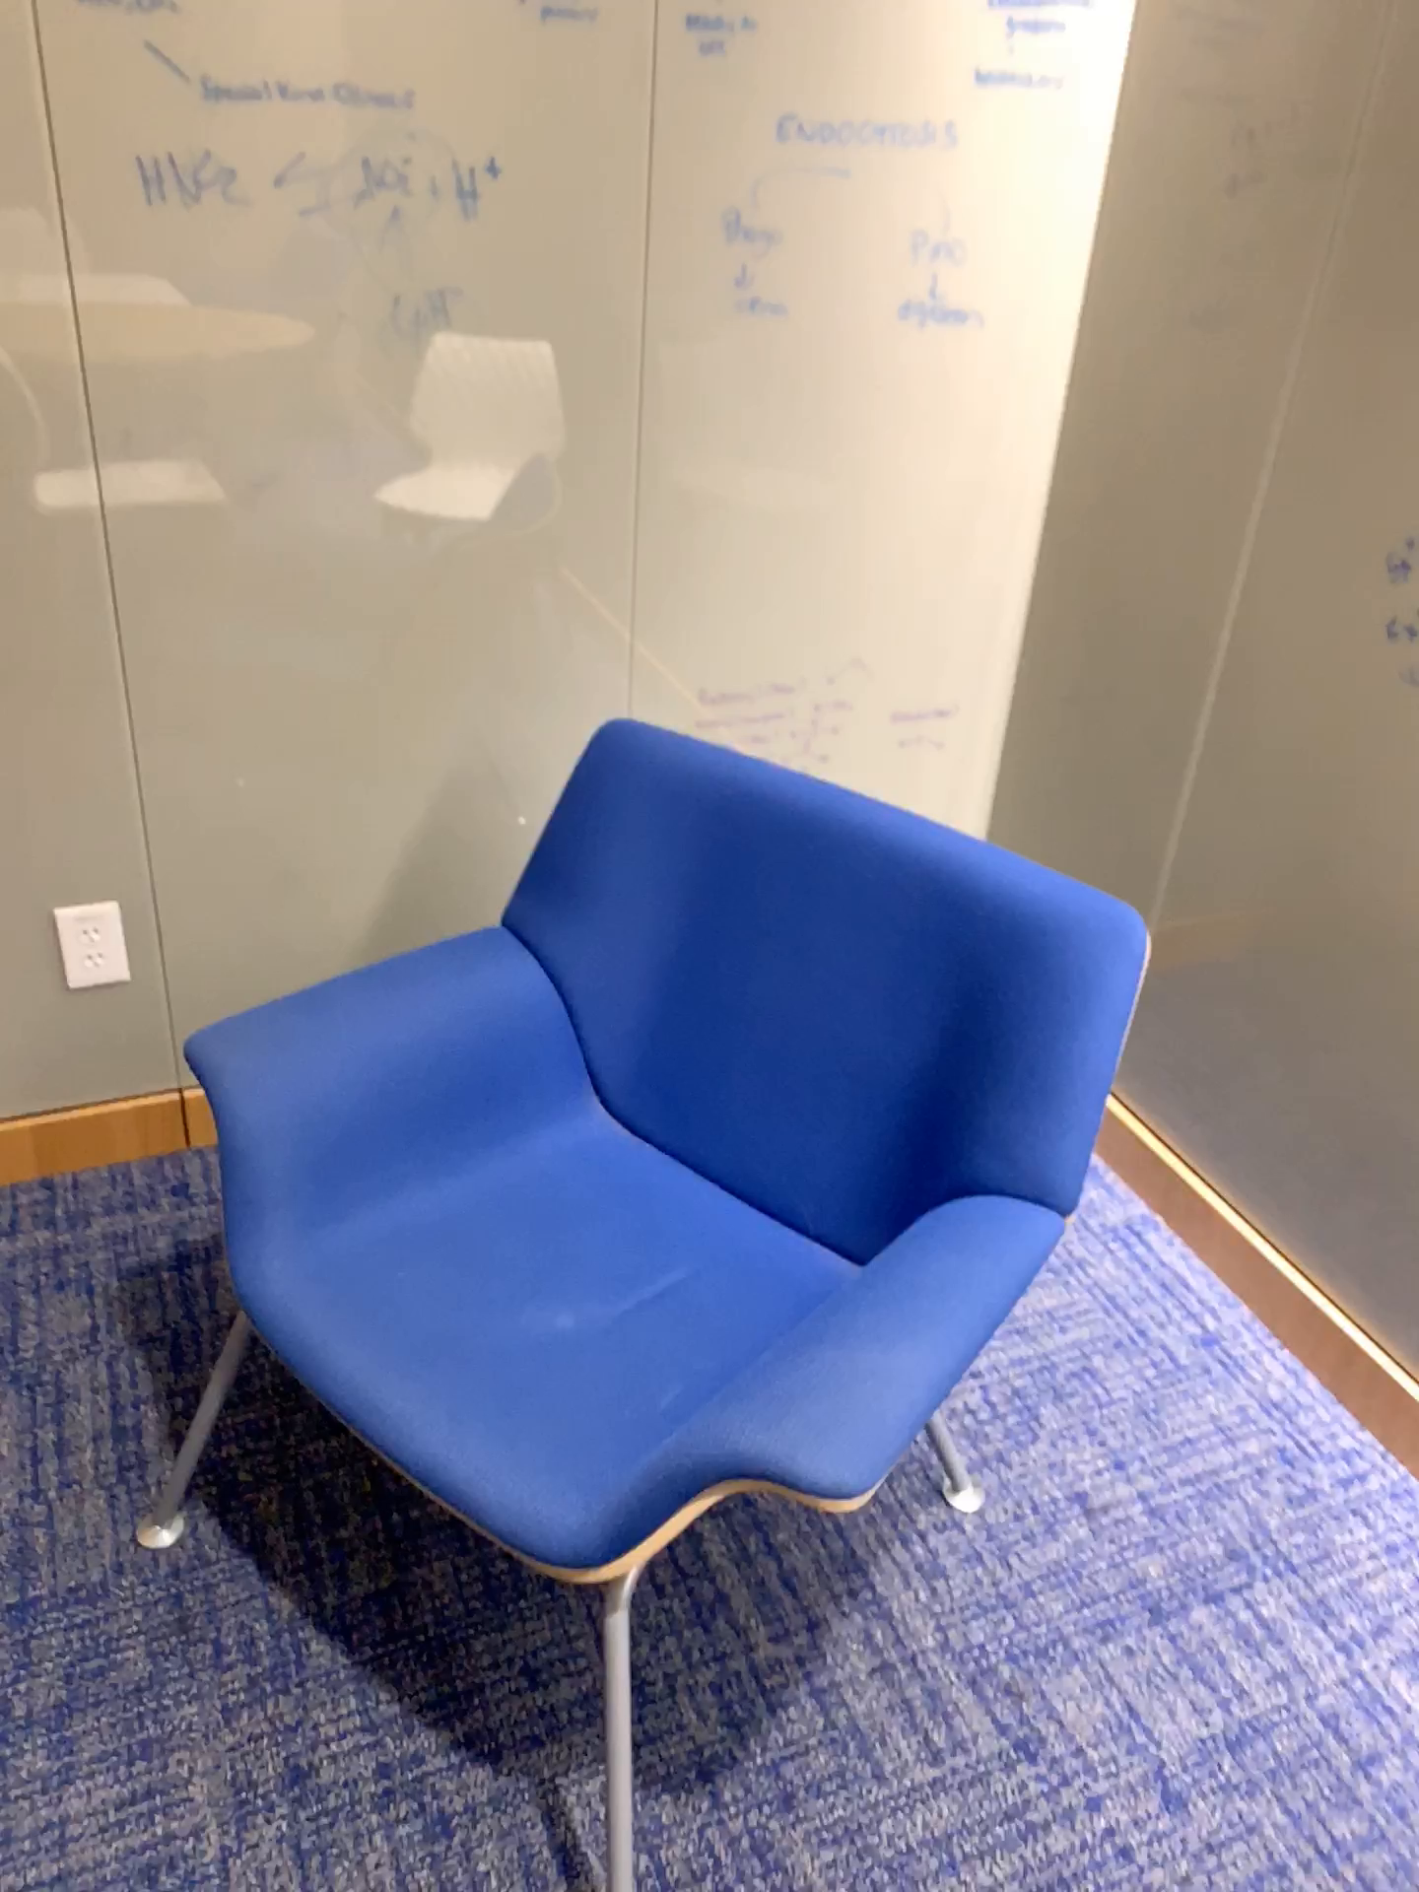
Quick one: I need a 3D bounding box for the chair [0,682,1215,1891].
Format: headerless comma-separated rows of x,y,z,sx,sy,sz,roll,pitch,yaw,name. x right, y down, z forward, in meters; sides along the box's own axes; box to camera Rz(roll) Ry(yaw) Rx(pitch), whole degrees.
-0.123,0.279,1.392,0.791,0.712,0.742,25,36,32,chair
